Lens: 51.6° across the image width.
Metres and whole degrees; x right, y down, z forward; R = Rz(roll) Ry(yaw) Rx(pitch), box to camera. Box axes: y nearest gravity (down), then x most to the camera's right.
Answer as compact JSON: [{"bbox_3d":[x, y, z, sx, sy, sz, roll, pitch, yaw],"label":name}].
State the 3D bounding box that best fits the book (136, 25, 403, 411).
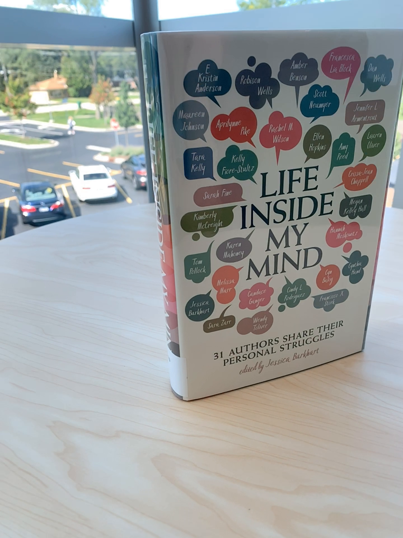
[{"bbox_3d":[0.045,-0.024,0.260,0.150,0.218,0.030,-11,28,-18],"label":"book"}]
